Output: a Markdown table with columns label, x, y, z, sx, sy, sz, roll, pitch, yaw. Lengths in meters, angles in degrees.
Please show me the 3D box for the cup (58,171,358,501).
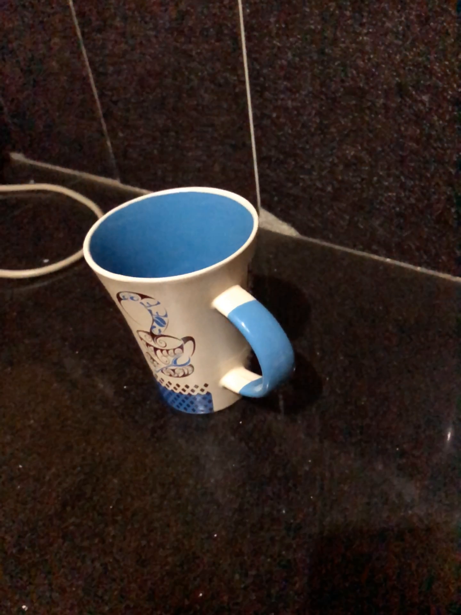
| label | x | y | z | sx | sy | sz | roll | pitch | yaw |
| --- | --- | --- | --- | --- | --- | --- | --- | --- | --- |
| cup | -0.011 | 0.007 | 0.289 | 0.090 | 0.109 | 0.130 | -32 | 44 | -26 |
